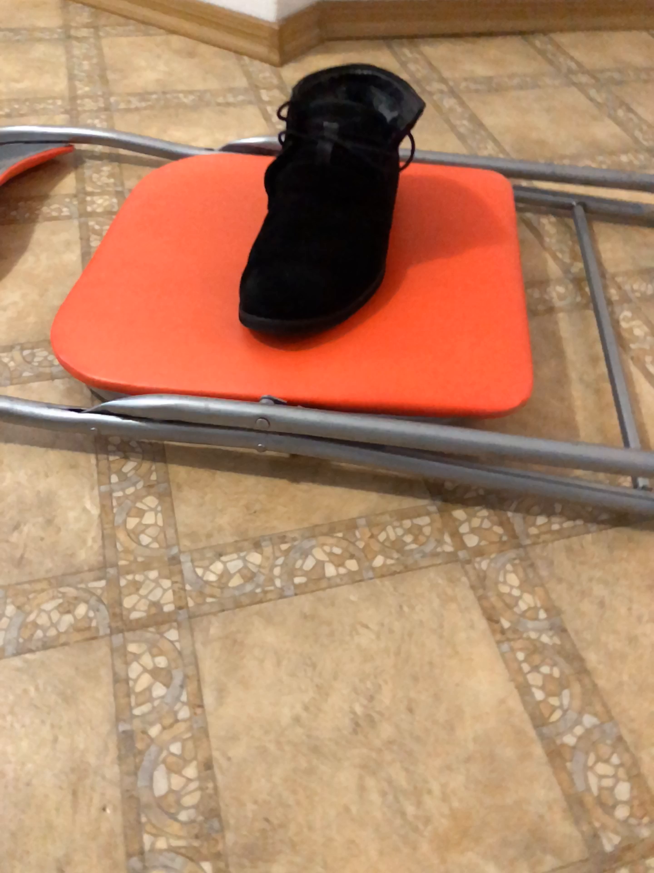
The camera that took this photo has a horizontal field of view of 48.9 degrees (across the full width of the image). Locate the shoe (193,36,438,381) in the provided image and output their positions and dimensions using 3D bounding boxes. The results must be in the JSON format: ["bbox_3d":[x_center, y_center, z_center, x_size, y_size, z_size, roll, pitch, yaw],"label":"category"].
[{"bbox_3d":[0.001,-0.193,0.573,0.110,0.129,0.272,14,49,7],"label":"shoe"}]
